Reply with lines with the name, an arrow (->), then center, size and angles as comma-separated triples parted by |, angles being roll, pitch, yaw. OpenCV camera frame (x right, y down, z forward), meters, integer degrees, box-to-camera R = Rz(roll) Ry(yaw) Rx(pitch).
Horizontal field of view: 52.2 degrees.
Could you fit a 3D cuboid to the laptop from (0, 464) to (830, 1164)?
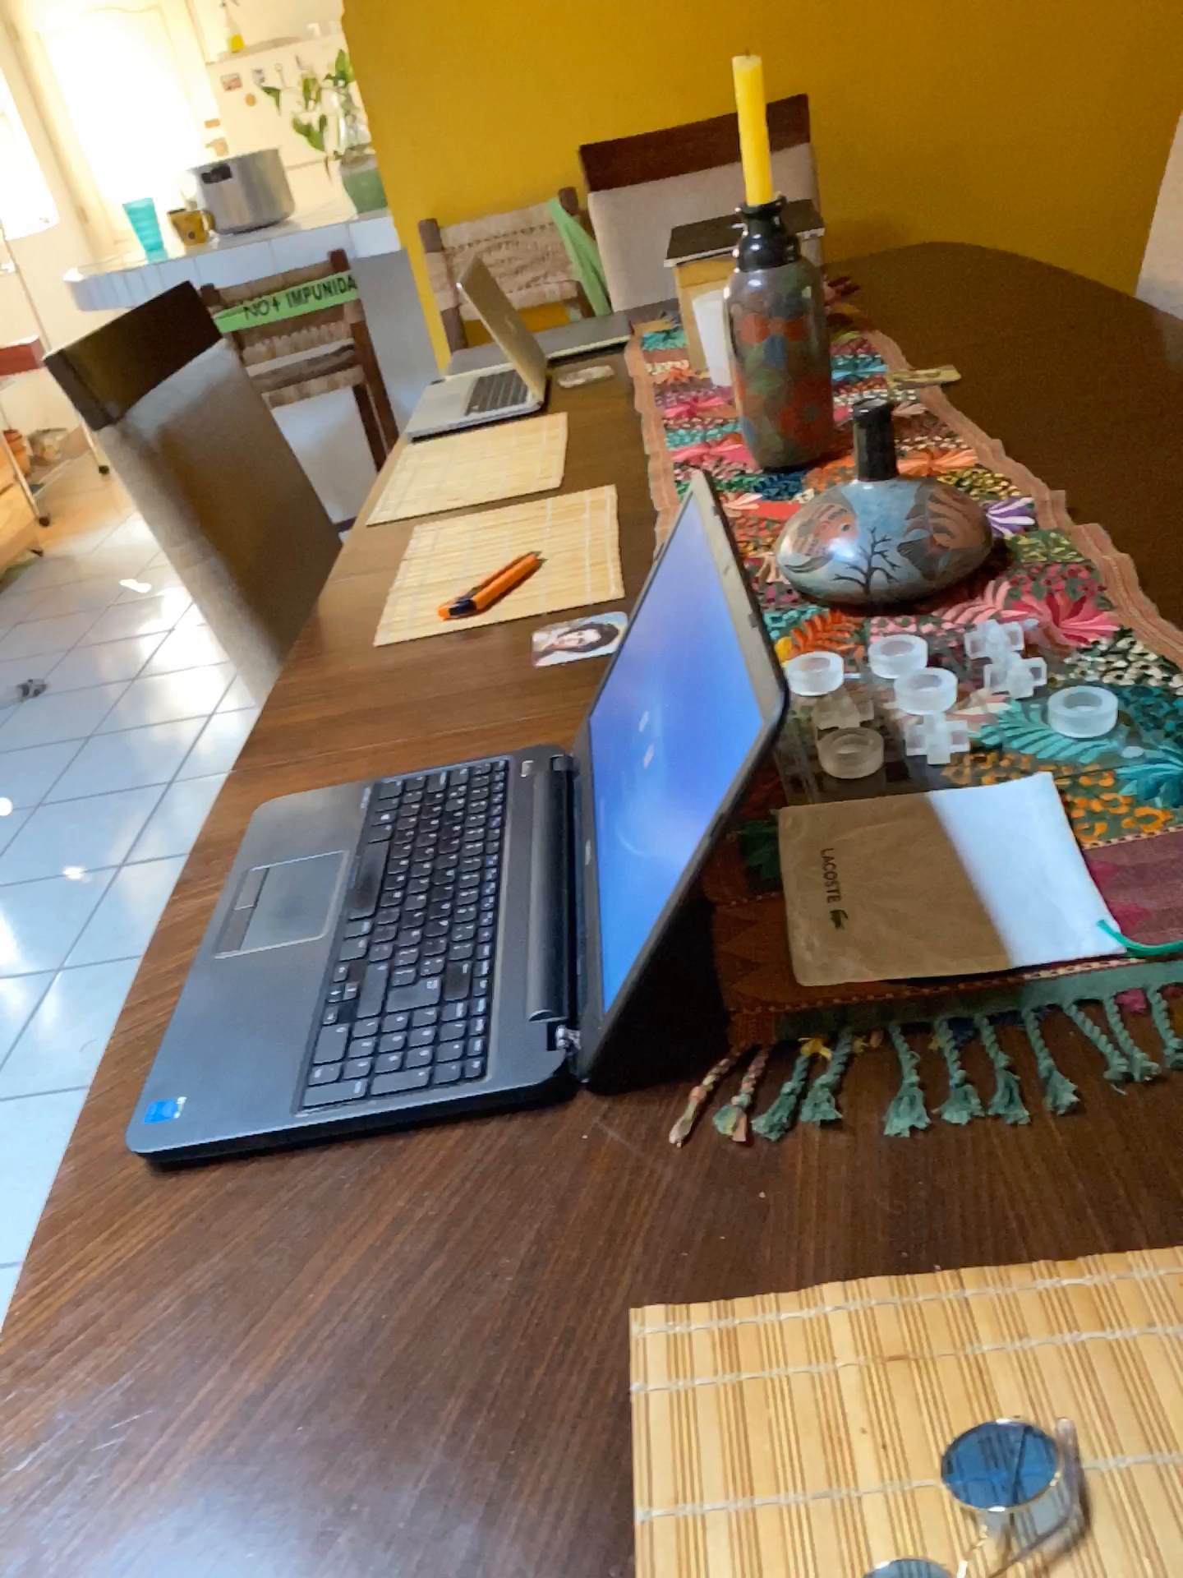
laptop -> -0.093, -0.011, 0.759 | 0.395, 0.194, 0.369 | -11, 31, 5
